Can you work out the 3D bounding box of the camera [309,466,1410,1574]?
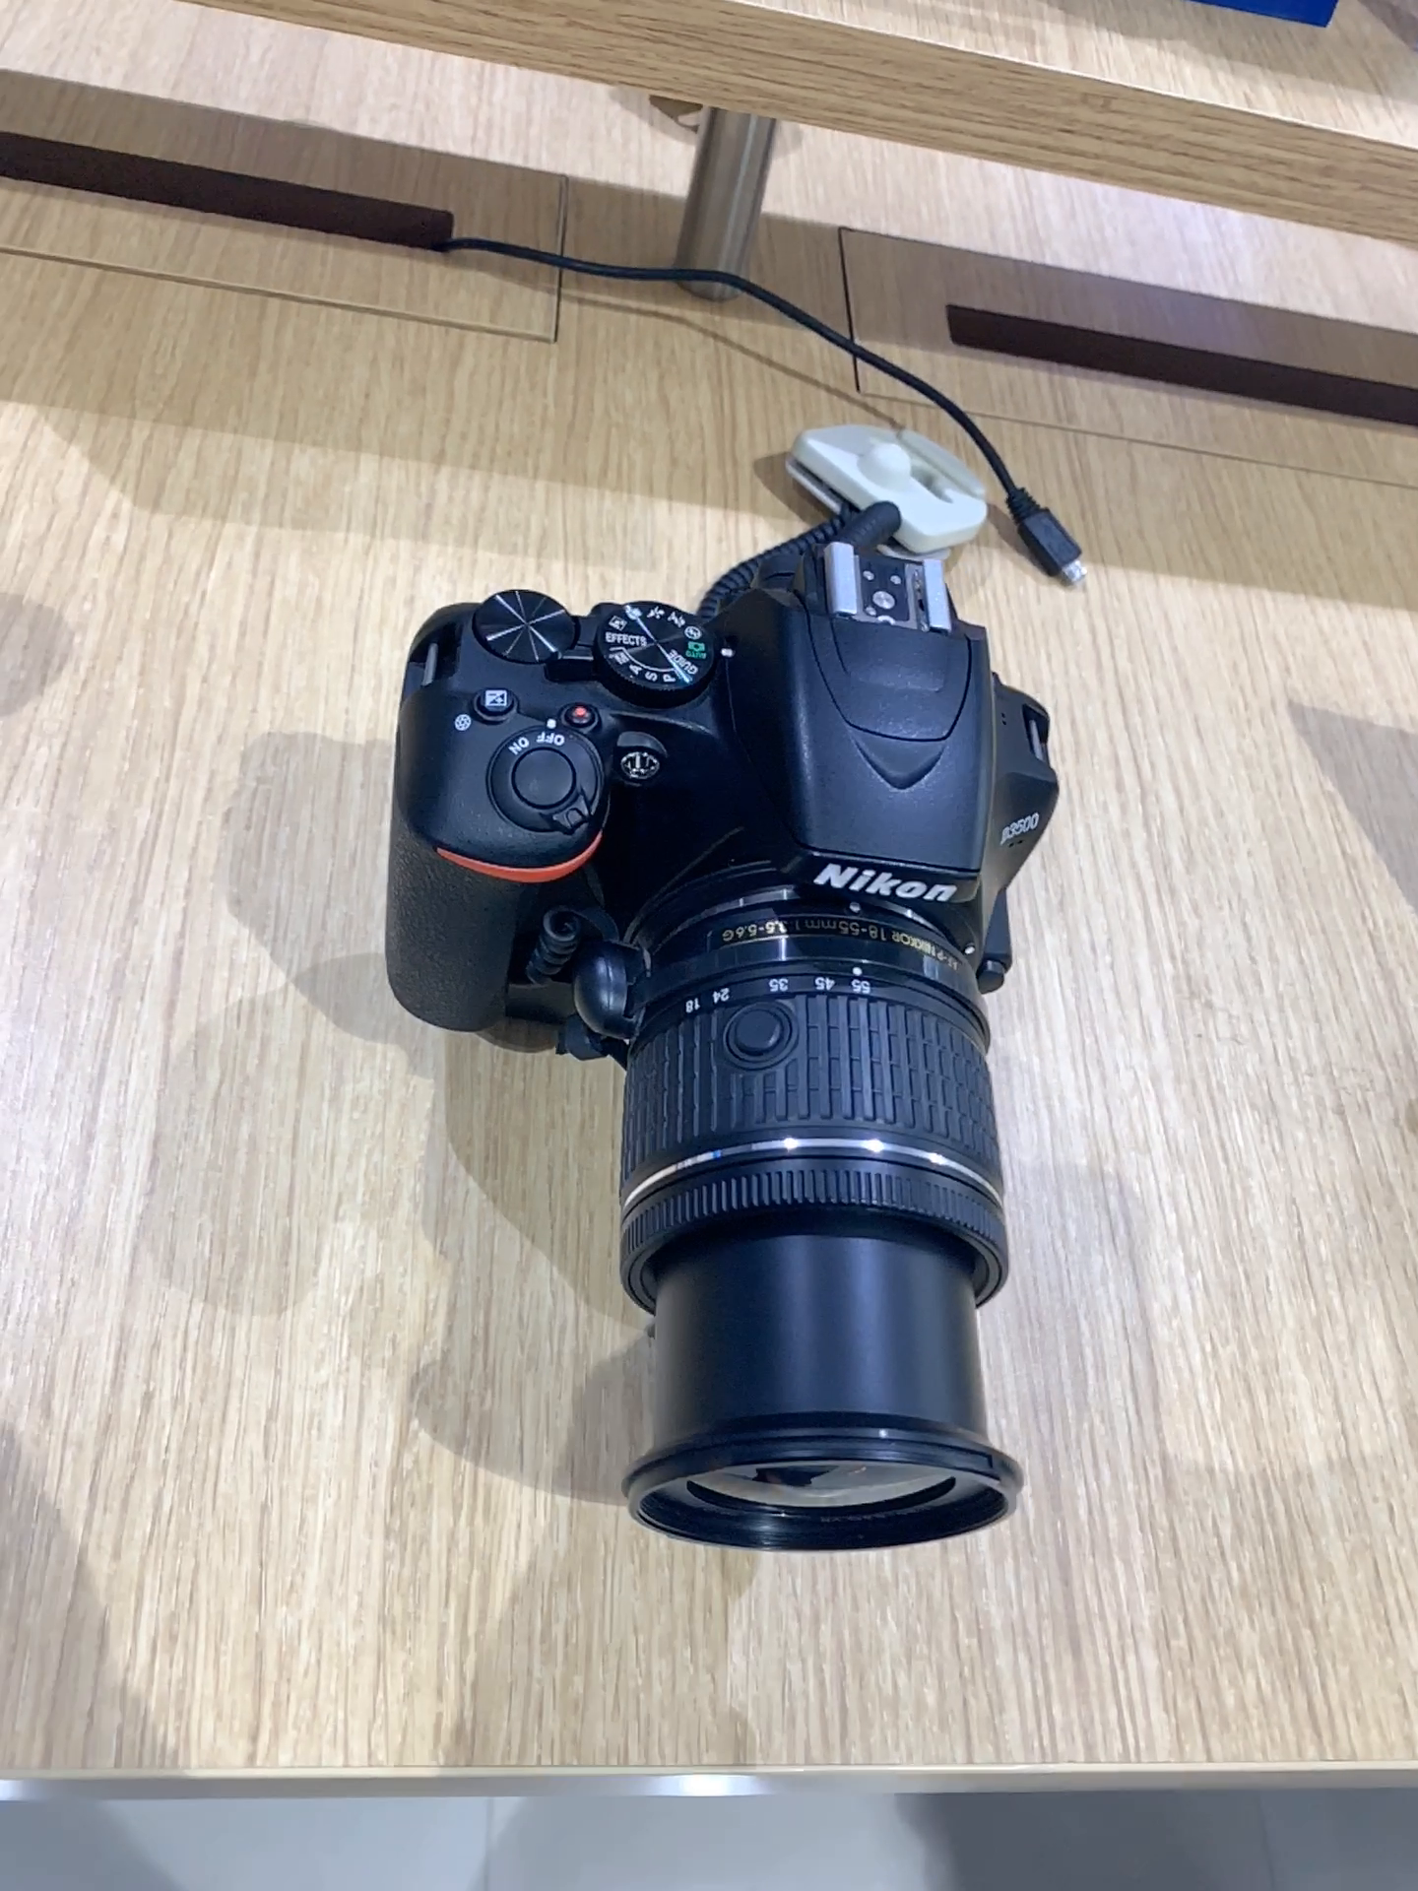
[{"bbox_3d":[0.008,0.017,0.224,0.117,0.095,0.131,5,56,-11],"label":"camera"}]
